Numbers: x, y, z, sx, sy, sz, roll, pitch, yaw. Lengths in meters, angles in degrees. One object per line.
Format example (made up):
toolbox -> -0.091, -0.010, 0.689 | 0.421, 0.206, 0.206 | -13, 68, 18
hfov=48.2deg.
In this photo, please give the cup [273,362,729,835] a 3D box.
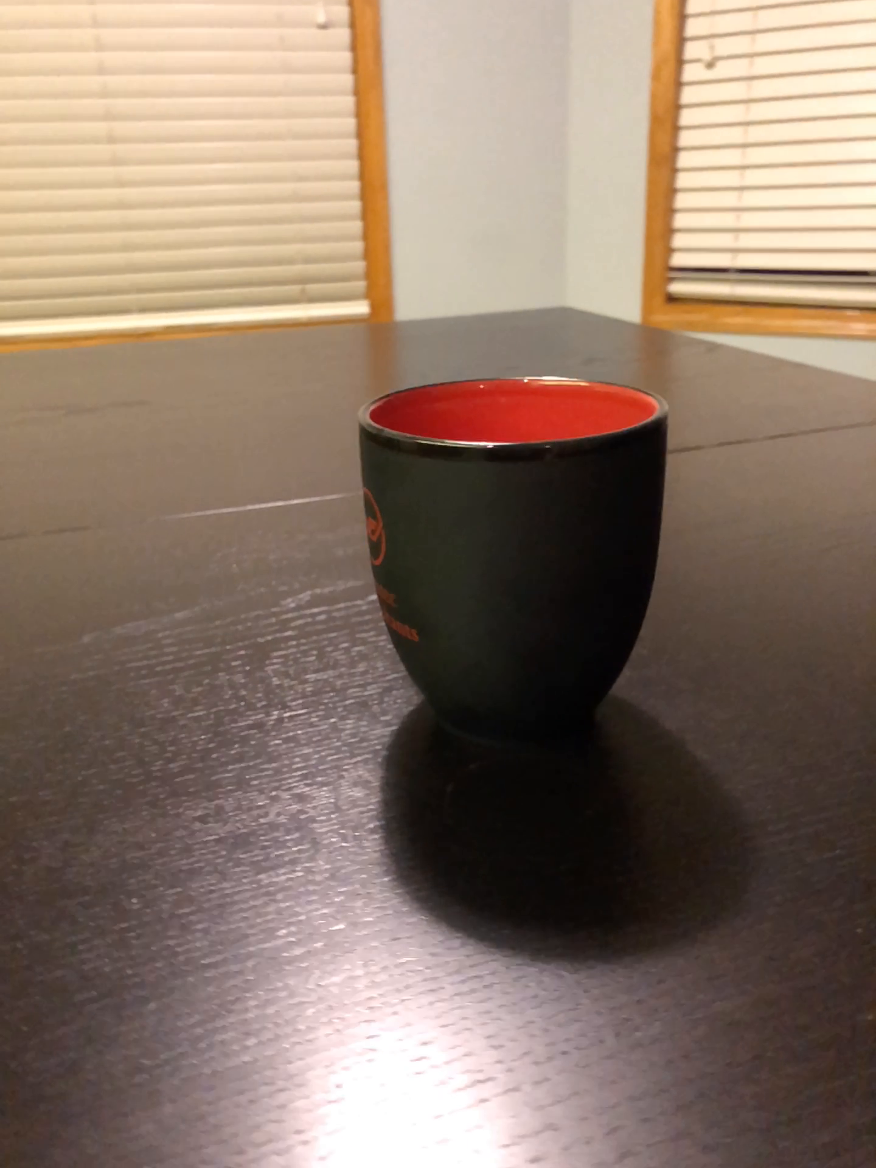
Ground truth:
cup -> 0.013, -0.009, 0.347 | 0.100, 0.110, 0.141 | -10, 23, -21
